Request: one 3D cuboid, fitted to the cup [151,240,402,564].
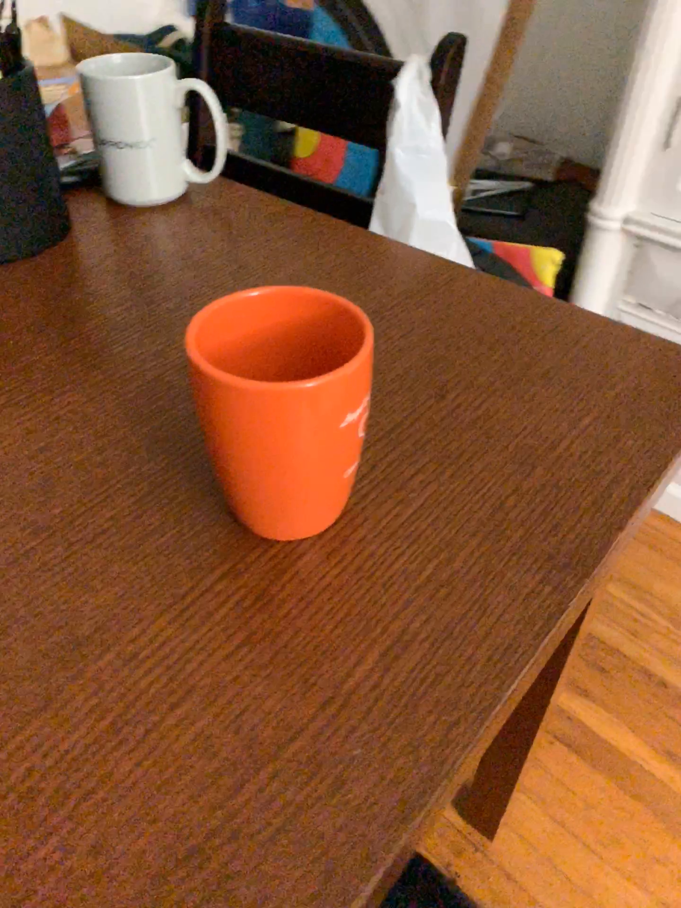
[{"bbox_3d":[-0.026,-0.030,0.364,0.100,0.109,0.131,1,41,0],"label":"cup"}]
